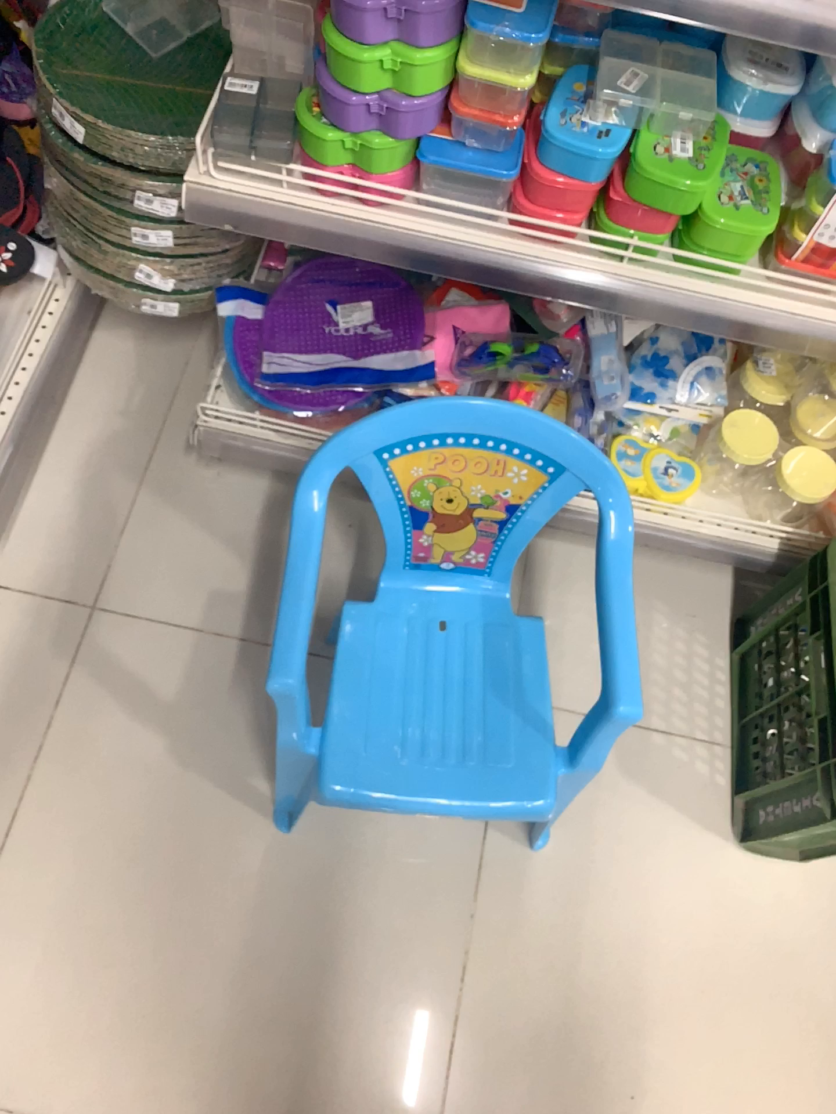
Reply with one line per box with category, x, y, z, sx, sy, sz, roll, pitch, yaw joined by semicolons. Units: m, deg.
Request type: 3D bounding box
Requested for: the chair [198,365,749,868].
chair;0.027;0.113;0.905;0.390;0.510;0.350;4;66;-4
